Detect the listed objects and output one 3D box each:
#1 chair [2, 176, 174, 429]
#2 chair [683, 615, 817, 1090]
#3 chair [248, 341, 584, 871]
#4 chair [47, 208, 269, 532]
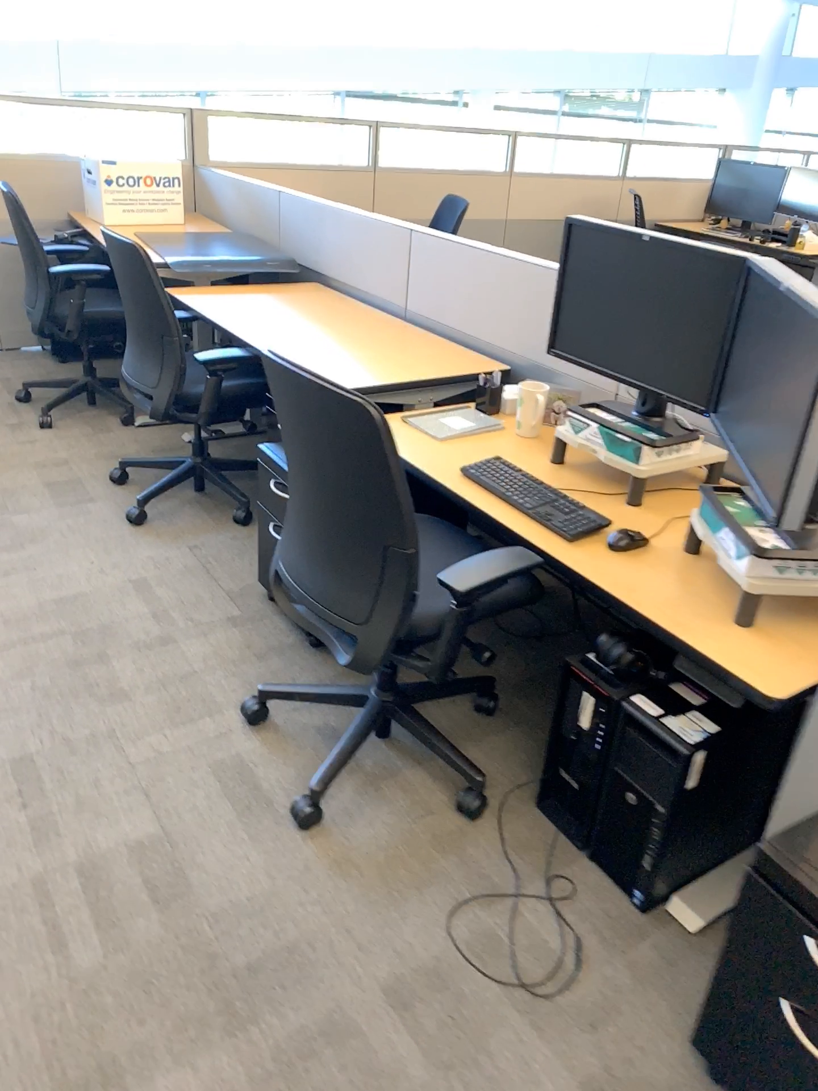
[{"bbox_3d":[-1.480,-1.136,3.870,0.600,0.995,0.563,-8,30,-23],"label":"chair"},{"bbox_3d":[0.838,0.739,0.658,0.630,0.995,0.764,-13,33,-30],"label":"chair"},{"bbox_3d":[-0.042,0.113,1.907,0.460,0.995,0.543,-12,32,-30],"label":"chair"},{"bbox_3d":[-0.886,-0.656,3.024,0.580,0.995,0.523,-13,33,-31],"label":"chair"}]
